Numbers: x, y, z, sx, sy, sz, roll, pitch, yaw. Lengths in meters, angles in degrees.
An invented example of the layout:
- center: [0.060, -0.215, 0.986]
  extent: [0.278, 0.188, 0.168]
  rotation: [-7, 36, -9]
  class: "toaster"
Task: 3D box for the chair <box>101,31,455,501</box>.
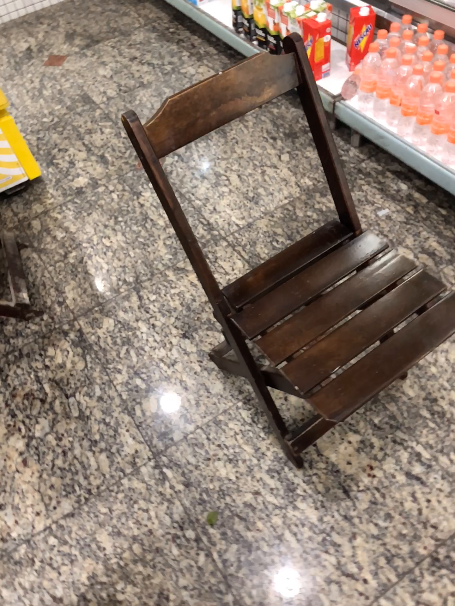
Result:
- center: [0.157, -0.048, 1.061]
  extent: [0.441, 0.706, 0.552]
  rotation: [-33, 56, -17]
  class: "chair"
